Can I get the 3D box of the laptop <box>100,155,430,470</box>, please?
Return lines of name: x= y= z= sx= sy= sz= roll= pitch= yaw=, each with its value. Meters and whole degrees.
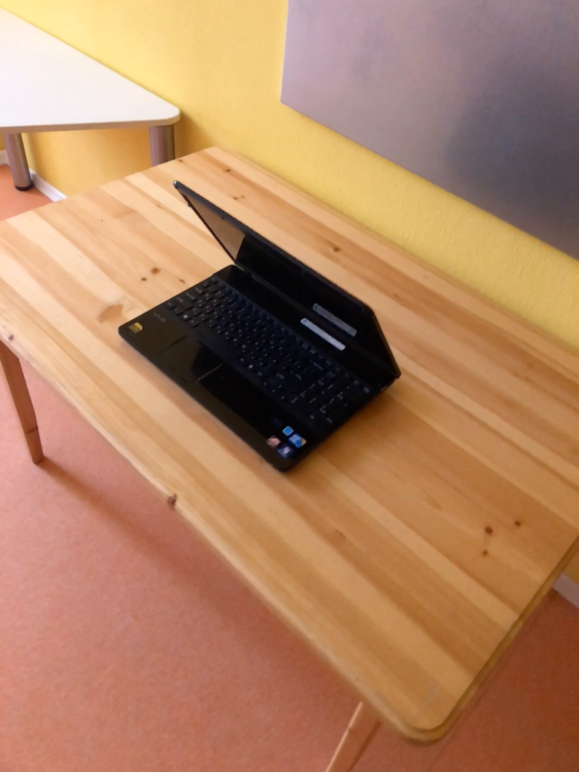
laptop: x=-0.046 y=-0.122 z=0.898 sx=0.362 sy=0.200 sz=0.248 roll=37 pitch=54 yaw=26
